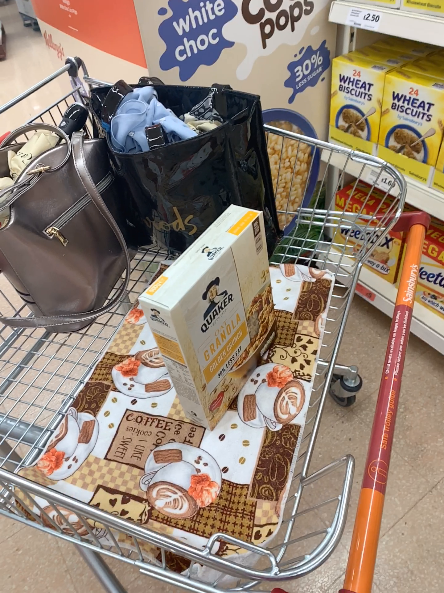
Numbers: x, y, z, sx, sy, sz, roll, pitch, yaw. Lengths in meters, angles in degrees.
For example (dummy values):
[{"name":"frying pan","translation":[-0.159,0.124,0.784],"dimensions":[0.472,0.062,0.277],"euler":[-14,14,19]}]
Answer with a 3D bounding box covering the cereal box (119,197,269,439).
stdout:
[{"name":"cereal box","translation":[-0.016,0.034,0.613],"dimensions":[0.050,0.258,0.201],"euler":[18,50,29]}]
